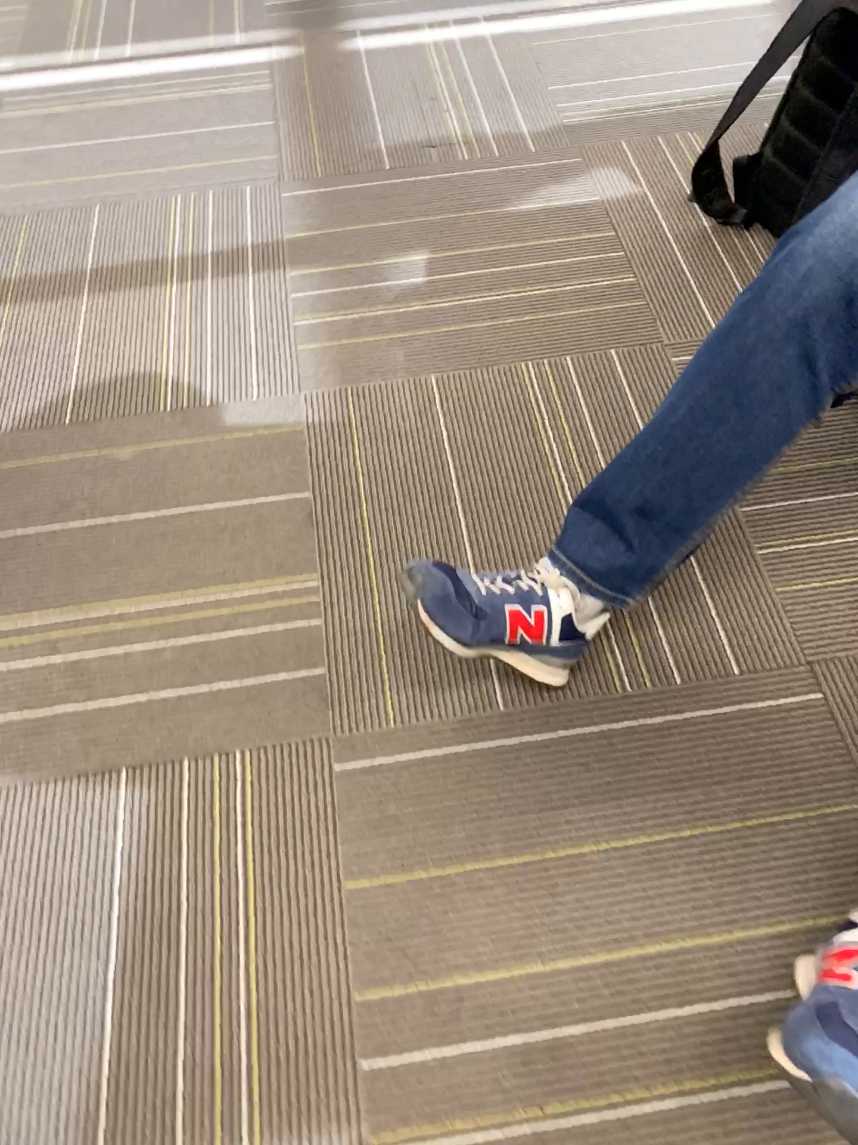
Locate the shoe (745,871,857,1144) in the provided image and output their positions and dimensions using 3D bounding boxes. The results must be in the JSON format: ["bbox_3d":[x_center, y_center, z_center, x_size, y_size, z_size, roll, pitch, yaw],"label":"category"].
[{"bbox_3d":[0.375,0.371,0.750,0.115,0.302,0.096,38,106,25],"label":"shoe"}]

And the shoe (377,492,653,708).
[{"bbox_3d":[0.107,0.042,1.032,0.136,0.296,0.121,-52,44,17],"label":"shoe"}]
